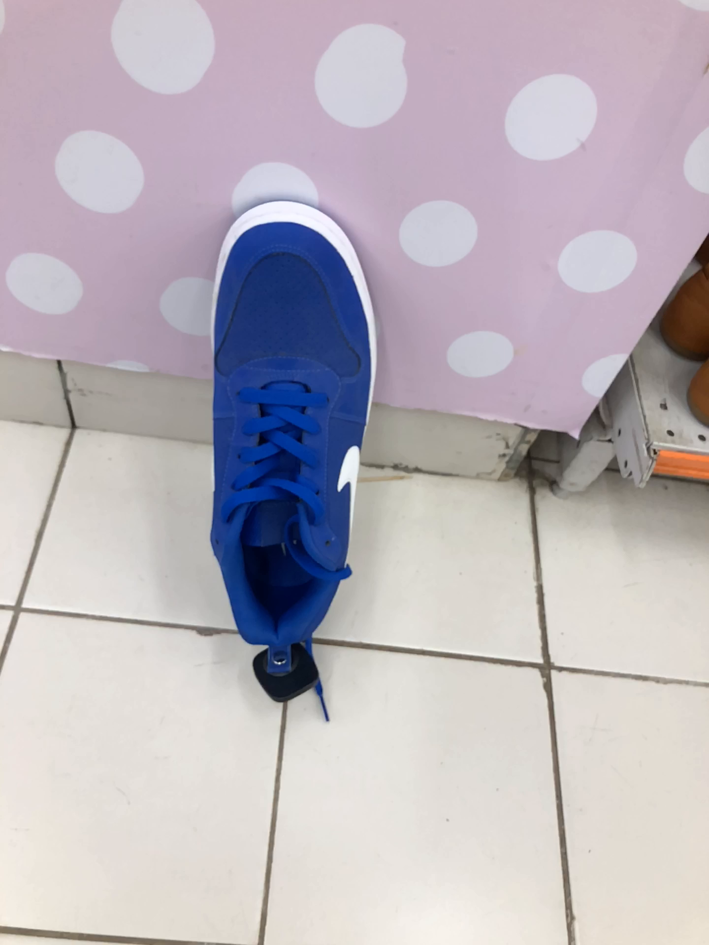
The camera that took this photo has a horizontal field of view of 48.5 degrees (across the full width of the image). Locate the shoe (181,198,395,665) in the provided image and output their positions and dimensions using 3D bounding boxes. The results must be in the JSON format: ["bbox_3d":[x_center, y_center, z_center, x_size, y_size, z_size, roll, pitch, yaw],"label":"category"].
[{"bbox_3d":[-0.045,-0.016,0.509,0.110,0.288,0.080,3,28,-3],"label":"shoe"}]
